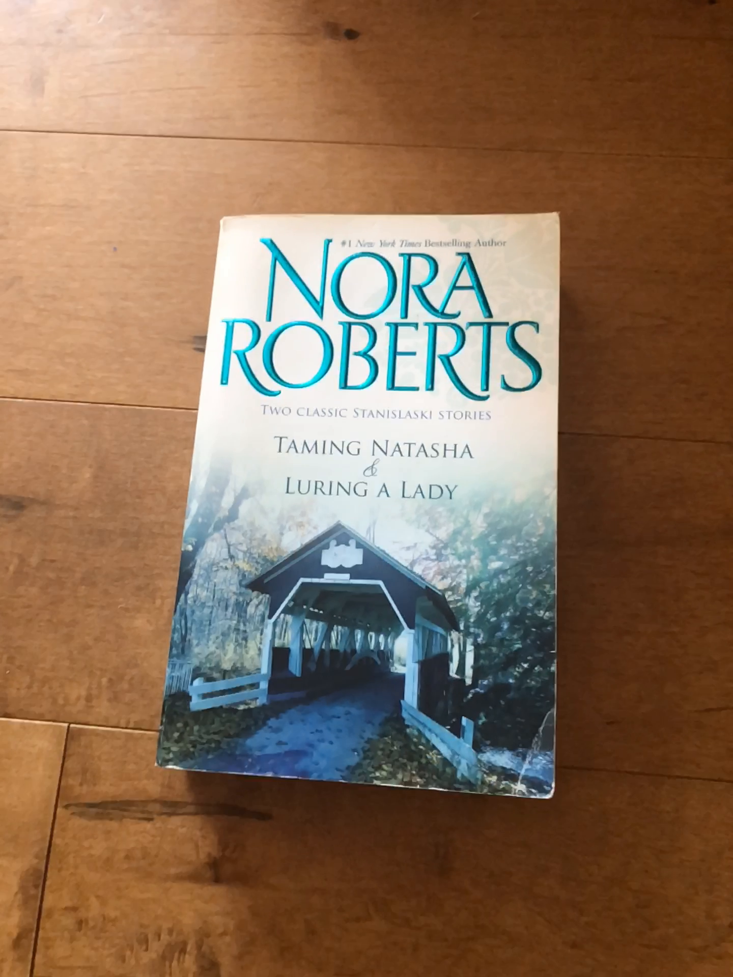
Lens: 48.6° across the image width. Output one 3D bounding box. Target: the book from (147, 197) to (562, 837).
[{"bbox_3d":[0.002,0.003,0.301,0.130,0.040,0.220,3,77,4],"label":"book"}]
